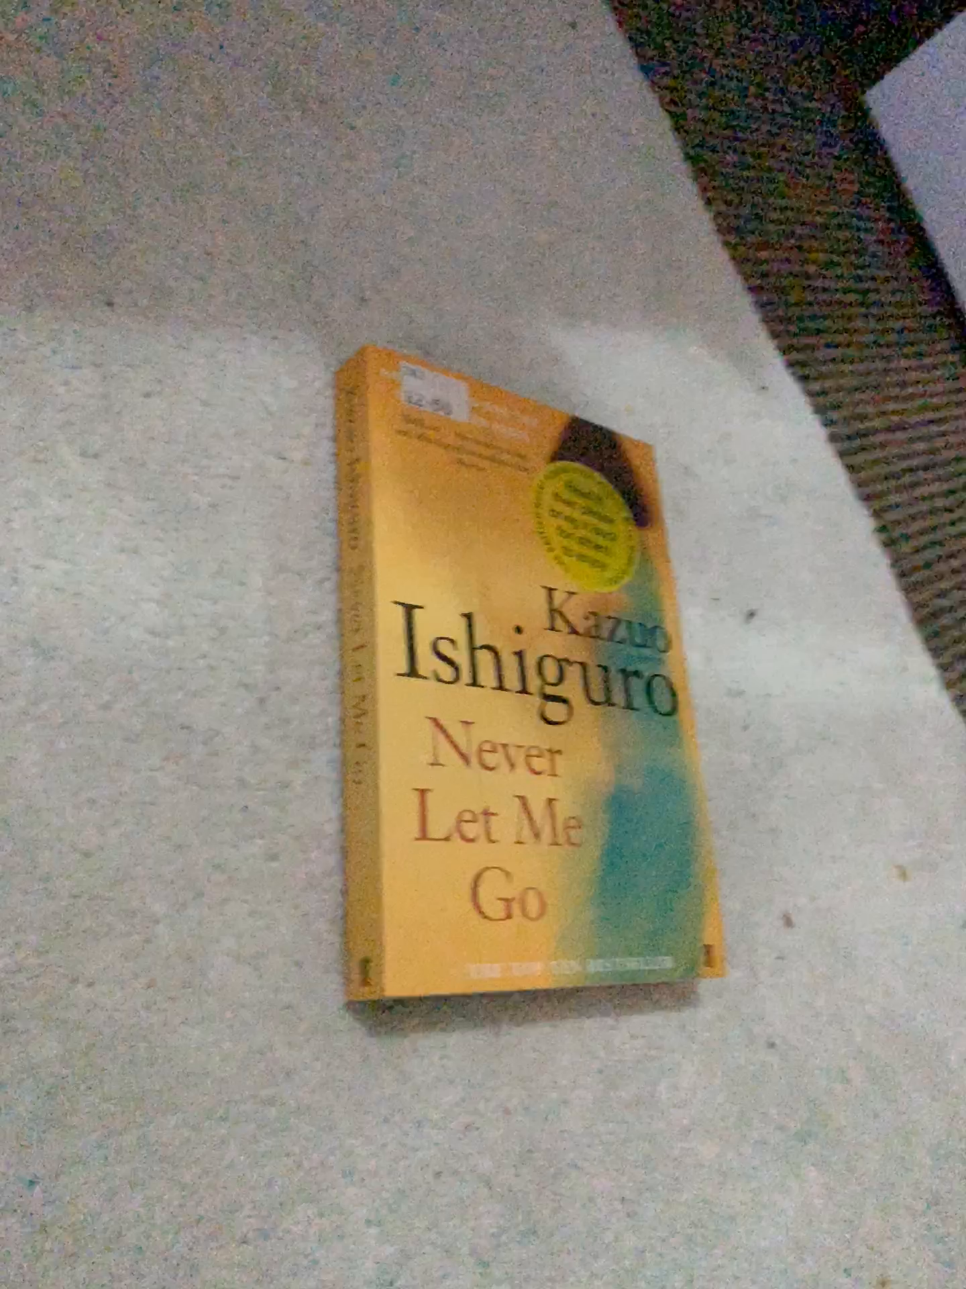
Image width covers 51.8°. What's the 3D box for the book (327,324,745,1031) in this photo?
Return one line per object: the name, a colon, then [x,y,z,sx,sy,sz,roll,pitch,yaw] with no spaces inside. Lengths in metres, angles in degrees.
book: [0.017,0.010,0.328,0.141,0.020,0.211,11,66,-34]
